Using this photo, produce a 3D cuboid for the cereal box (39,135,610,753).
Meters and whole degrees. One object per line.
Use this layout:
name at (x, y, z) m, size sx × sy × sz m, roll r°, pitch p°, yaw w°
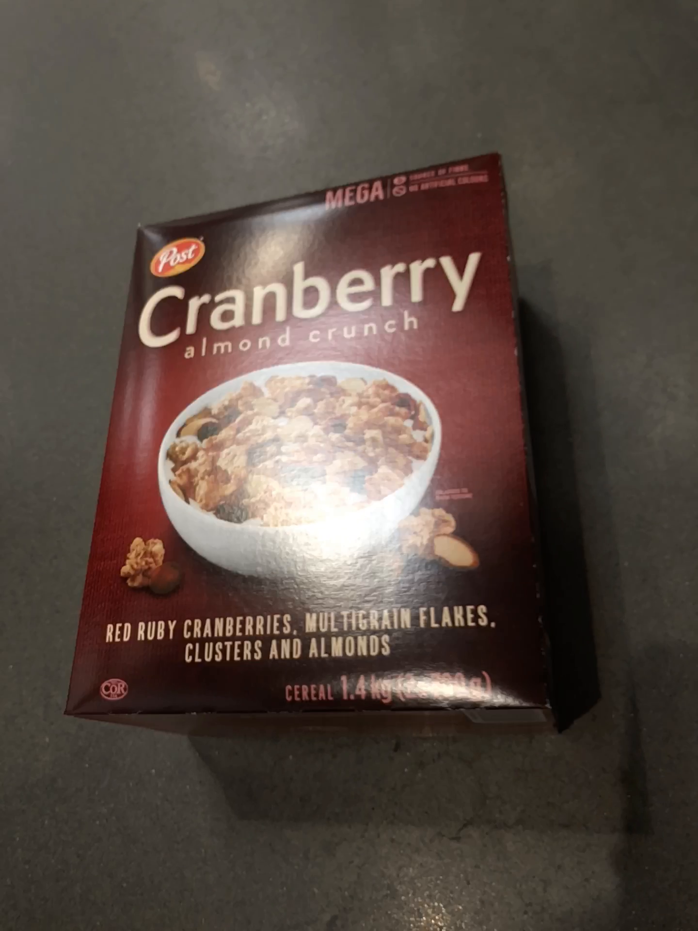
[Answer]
cereal box at (-0.003, -0.001, 0.454) m, size 0.260 × 0.130 × 0.310 m, roll -6°, pitch 66°, yaw 15°
